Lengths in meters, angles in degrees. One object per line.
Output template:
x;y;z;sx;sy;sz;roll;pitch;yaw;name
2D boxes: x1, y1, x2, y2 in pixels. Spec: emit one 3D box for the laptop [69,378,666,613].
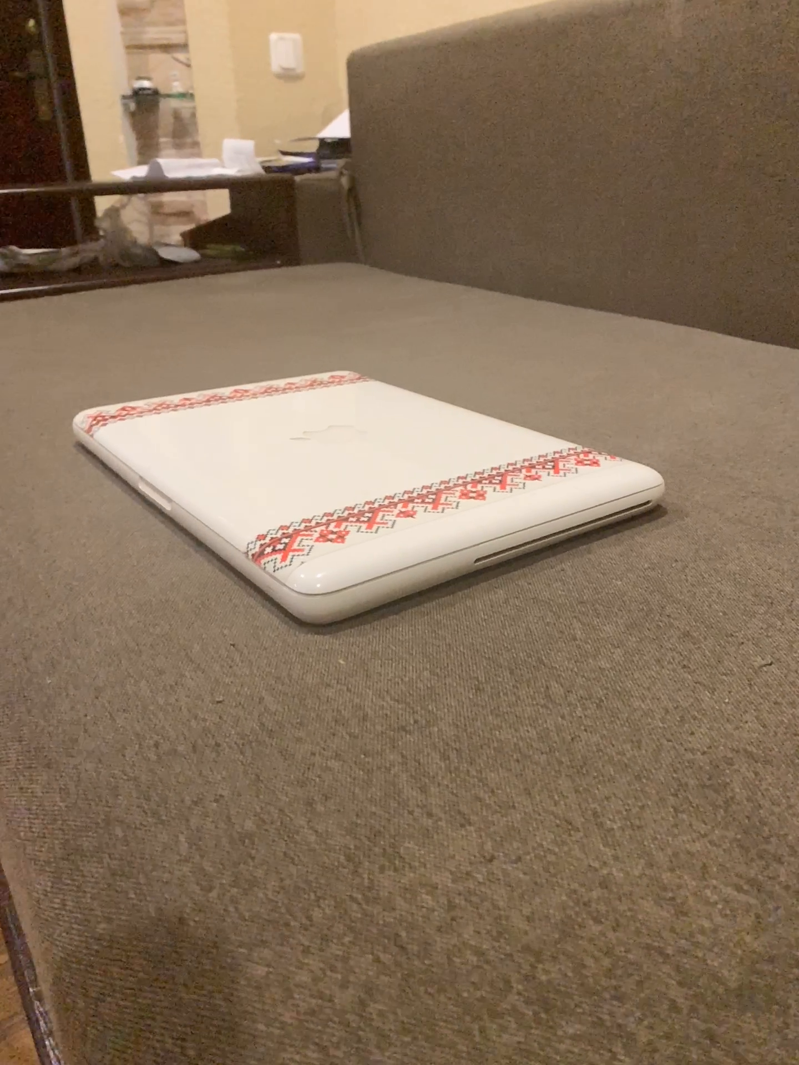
-0.043;-0.048;0.514;0.222;0.003;0.326;-18;29;-32;laptop
